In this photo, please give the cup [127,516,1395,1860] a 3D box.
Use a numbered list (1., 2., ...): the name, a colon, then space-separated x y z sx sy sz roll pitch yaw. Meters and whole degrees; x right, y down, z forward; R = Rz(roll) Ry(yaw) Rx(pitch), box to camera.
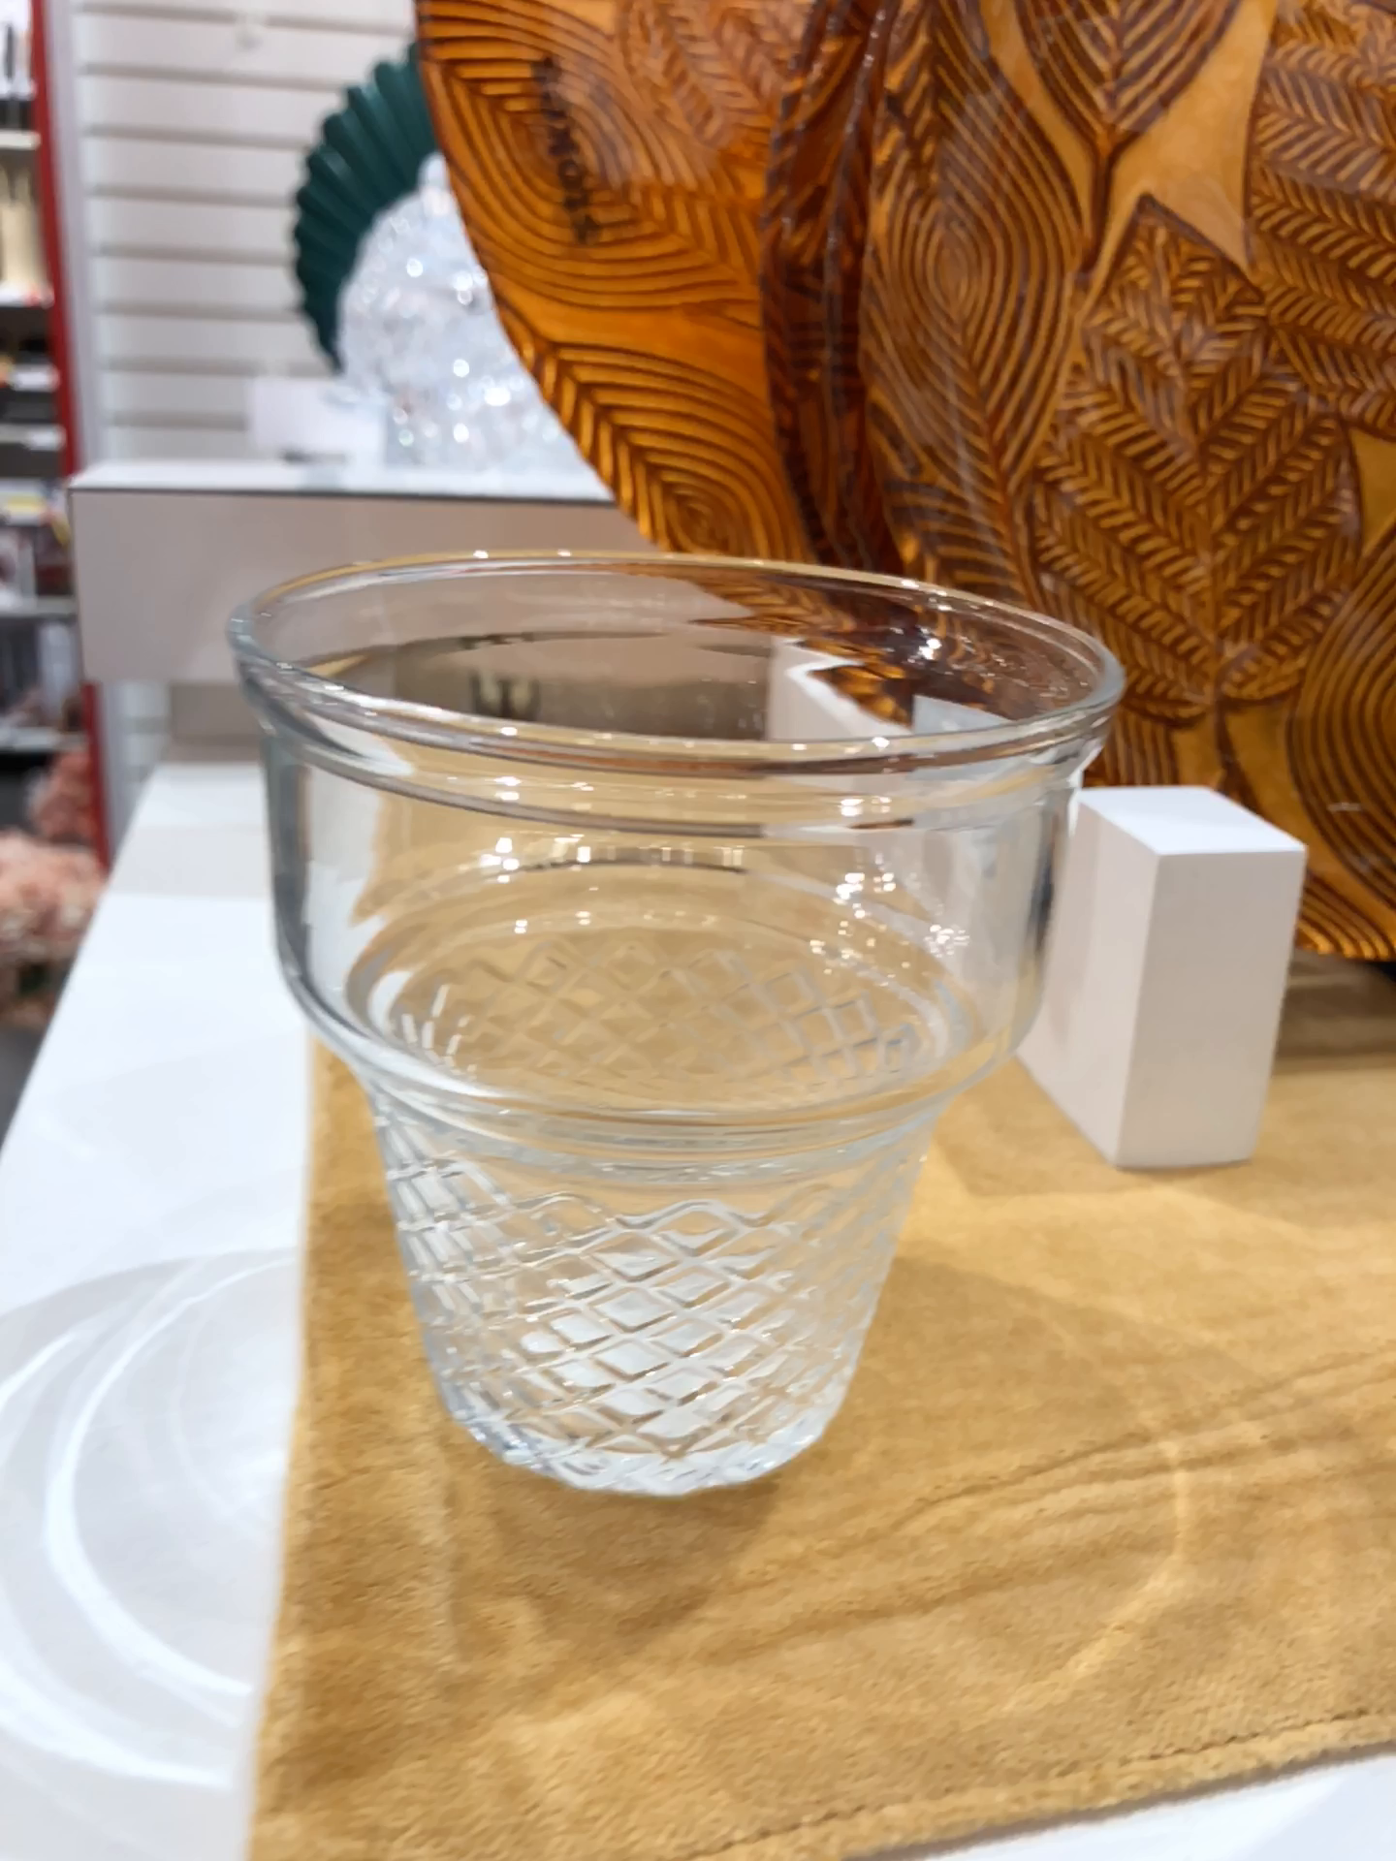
1. cup: 0.006 0.006 0.132 0.080 0.070 0.080 2 20 -1
